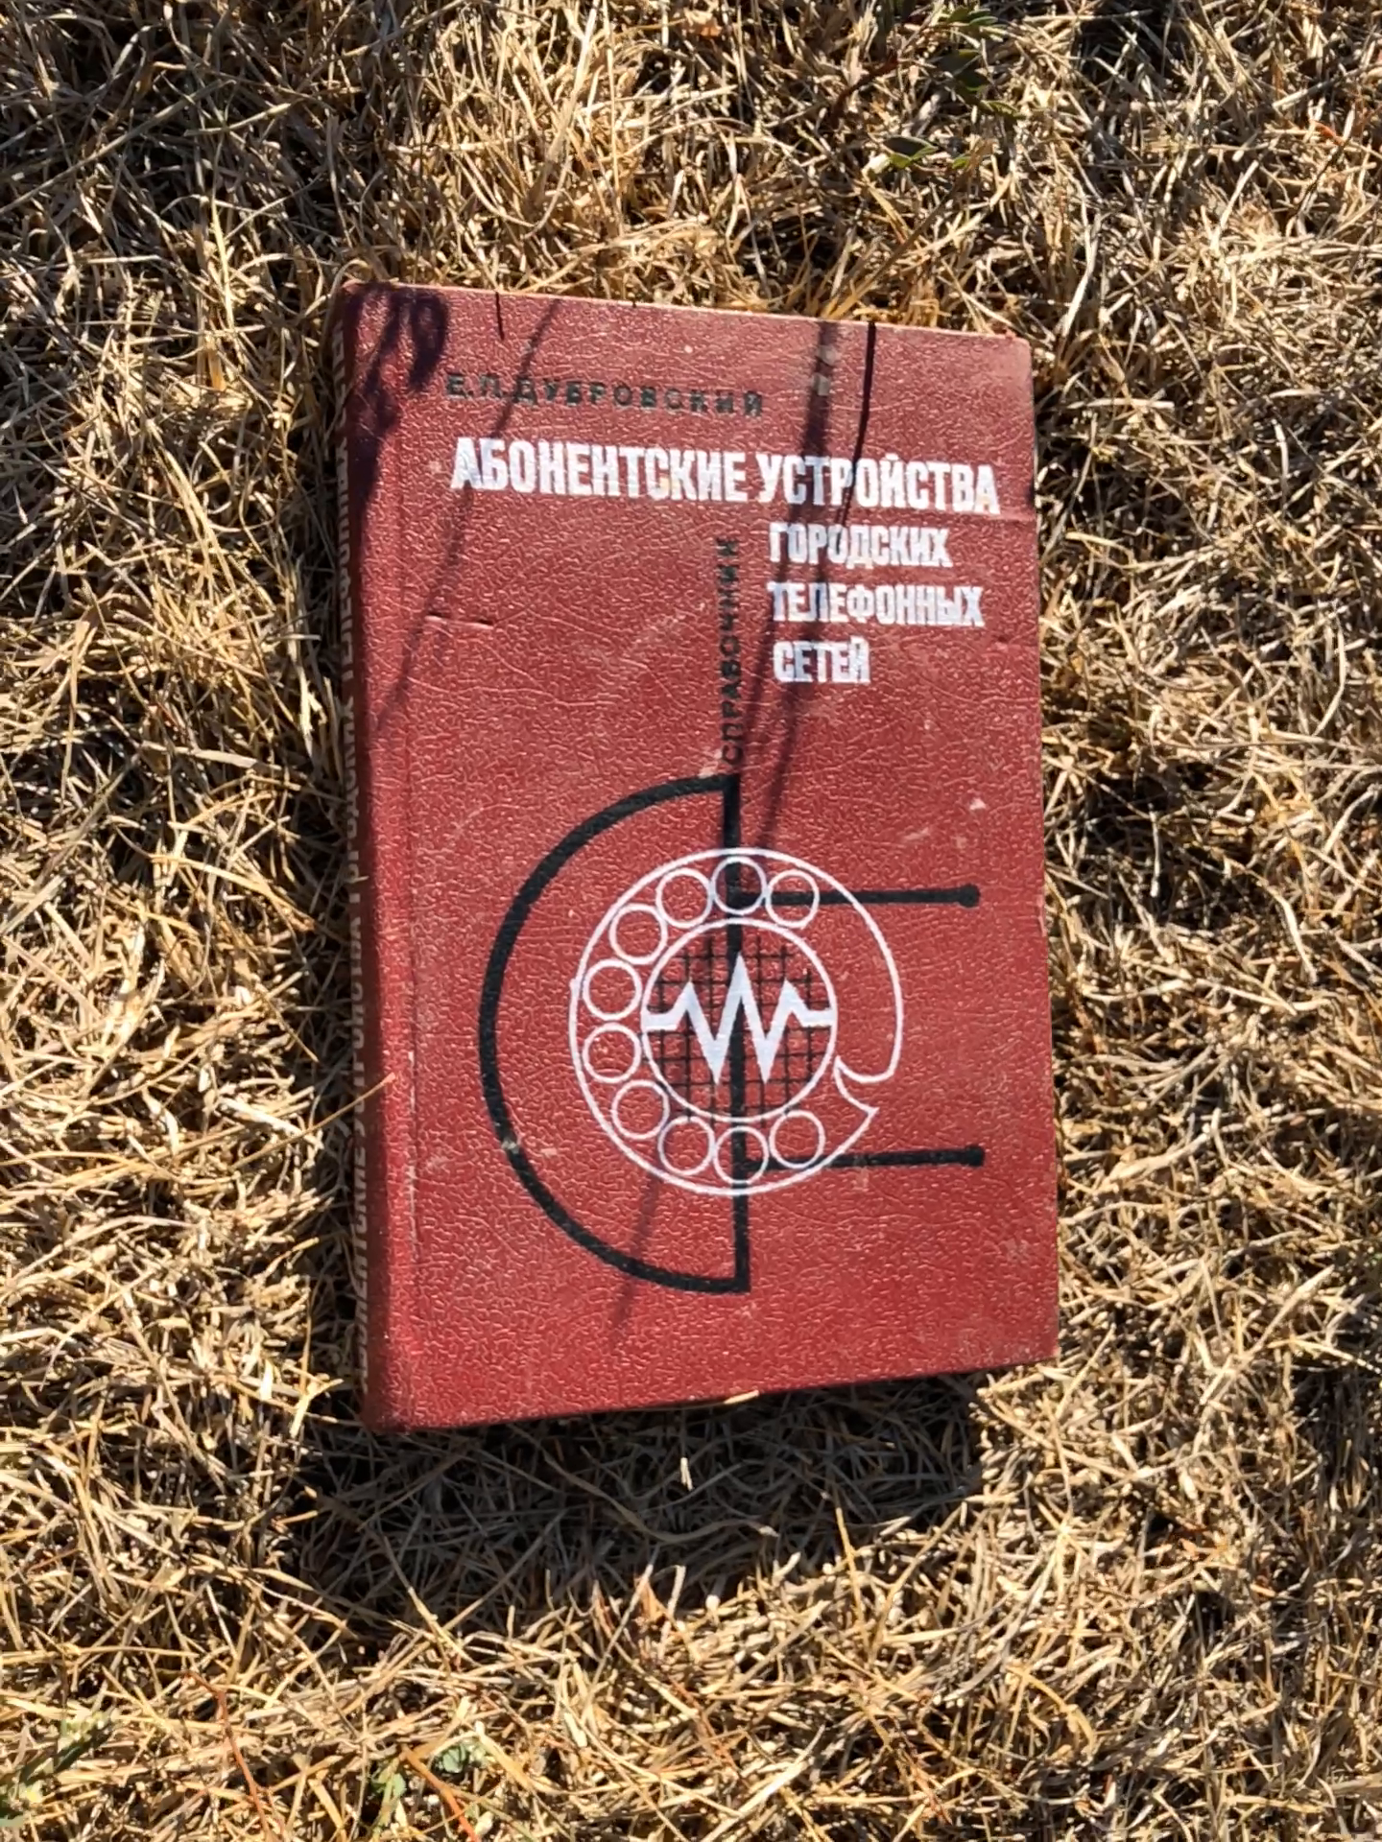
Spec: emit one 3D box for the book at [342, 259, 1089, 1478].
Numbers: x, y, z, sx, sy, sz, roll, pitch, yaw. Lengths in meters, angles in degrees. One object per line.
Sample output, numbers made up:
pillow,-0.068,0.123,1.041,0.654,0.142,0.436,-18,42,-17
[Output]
book,0.006,-0.010,0.302,0.141,0.030,0.211,-1,90,-17
